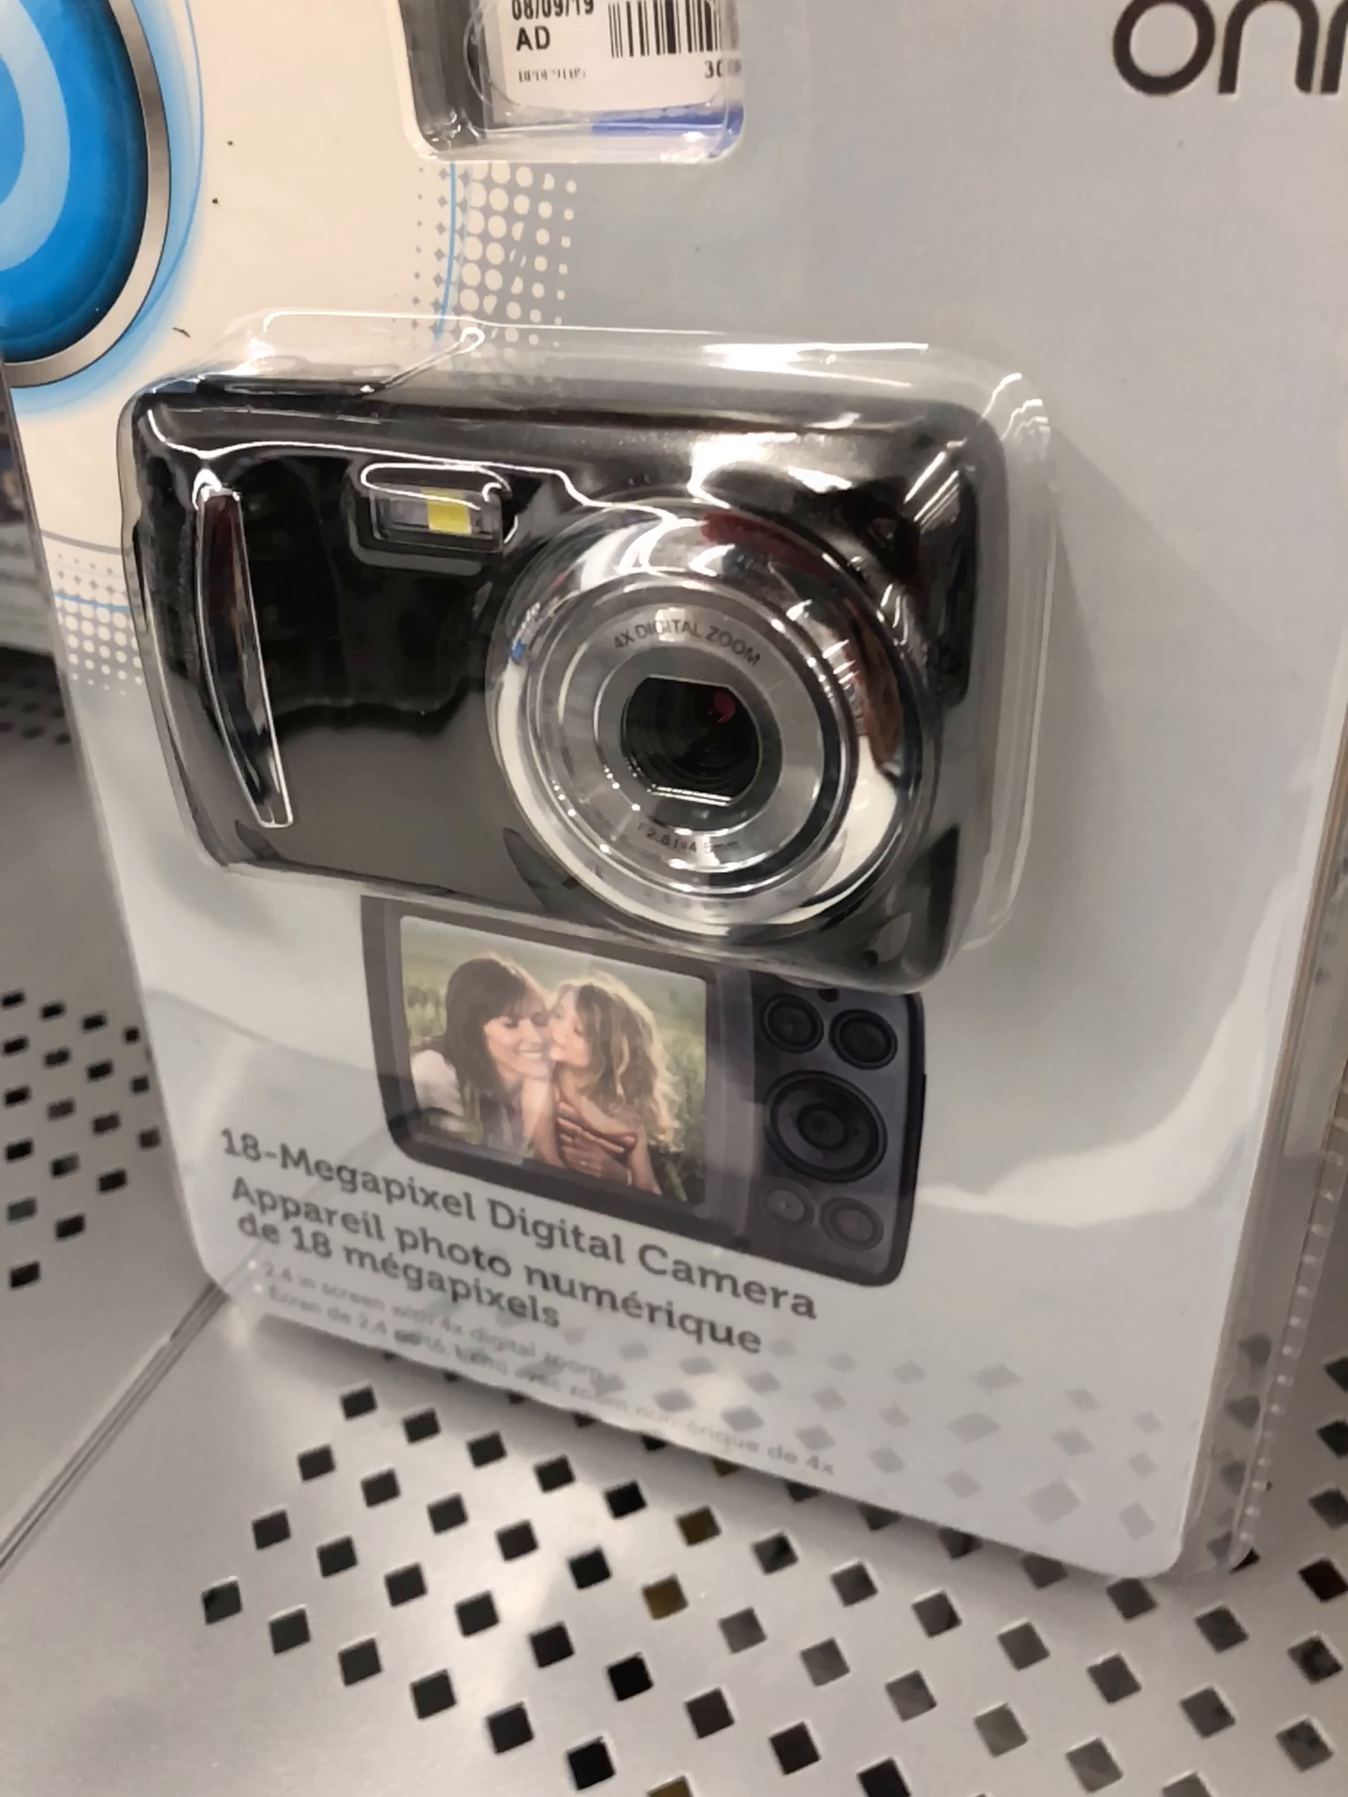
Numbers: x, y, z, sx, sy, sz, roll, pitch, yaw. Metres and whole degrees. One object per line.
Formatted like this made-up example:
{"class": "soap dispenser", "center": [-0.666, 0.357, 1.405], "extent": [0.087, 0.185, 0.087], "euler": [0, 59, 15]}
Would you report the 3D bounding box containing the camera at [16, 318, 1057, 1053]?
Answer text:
{"class": "camera", "center": [-0.015, -0.027, 0.165], "extent": [0.100, 0.060, 0.030], "euler": [11, 34, 22]}
